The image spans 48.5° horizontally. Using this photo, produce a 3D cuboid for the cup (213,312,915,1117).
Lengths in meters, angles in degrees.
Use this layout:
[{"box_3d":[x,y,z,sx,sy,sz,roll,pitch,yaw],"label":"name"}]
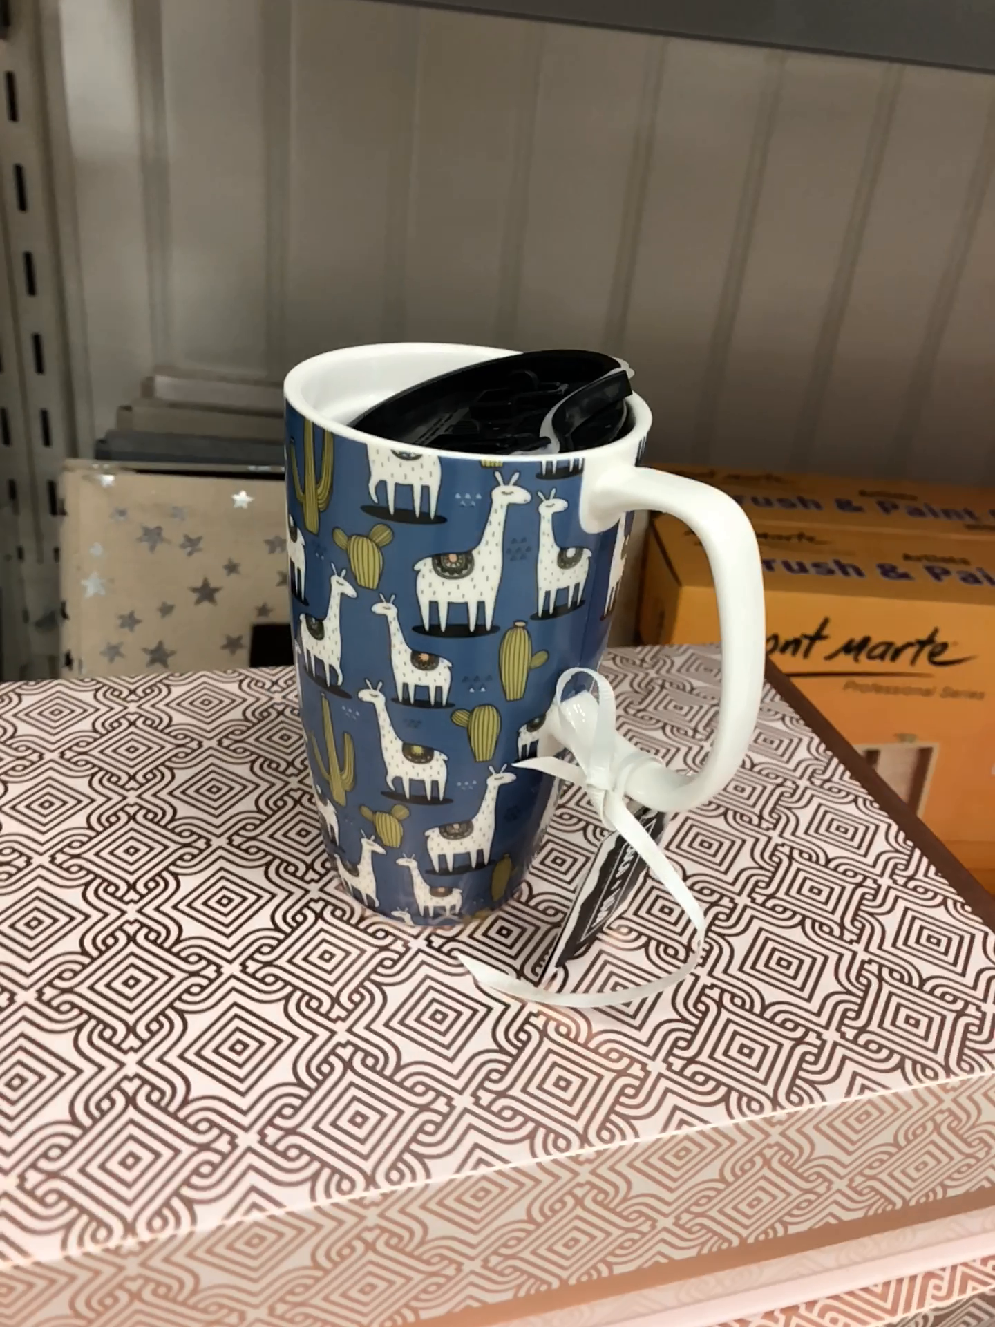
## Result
[{"box_3d":[0.009,0.002,0.274,0.126,0.138,0.090,24,34,29],"label":"cup"}]
